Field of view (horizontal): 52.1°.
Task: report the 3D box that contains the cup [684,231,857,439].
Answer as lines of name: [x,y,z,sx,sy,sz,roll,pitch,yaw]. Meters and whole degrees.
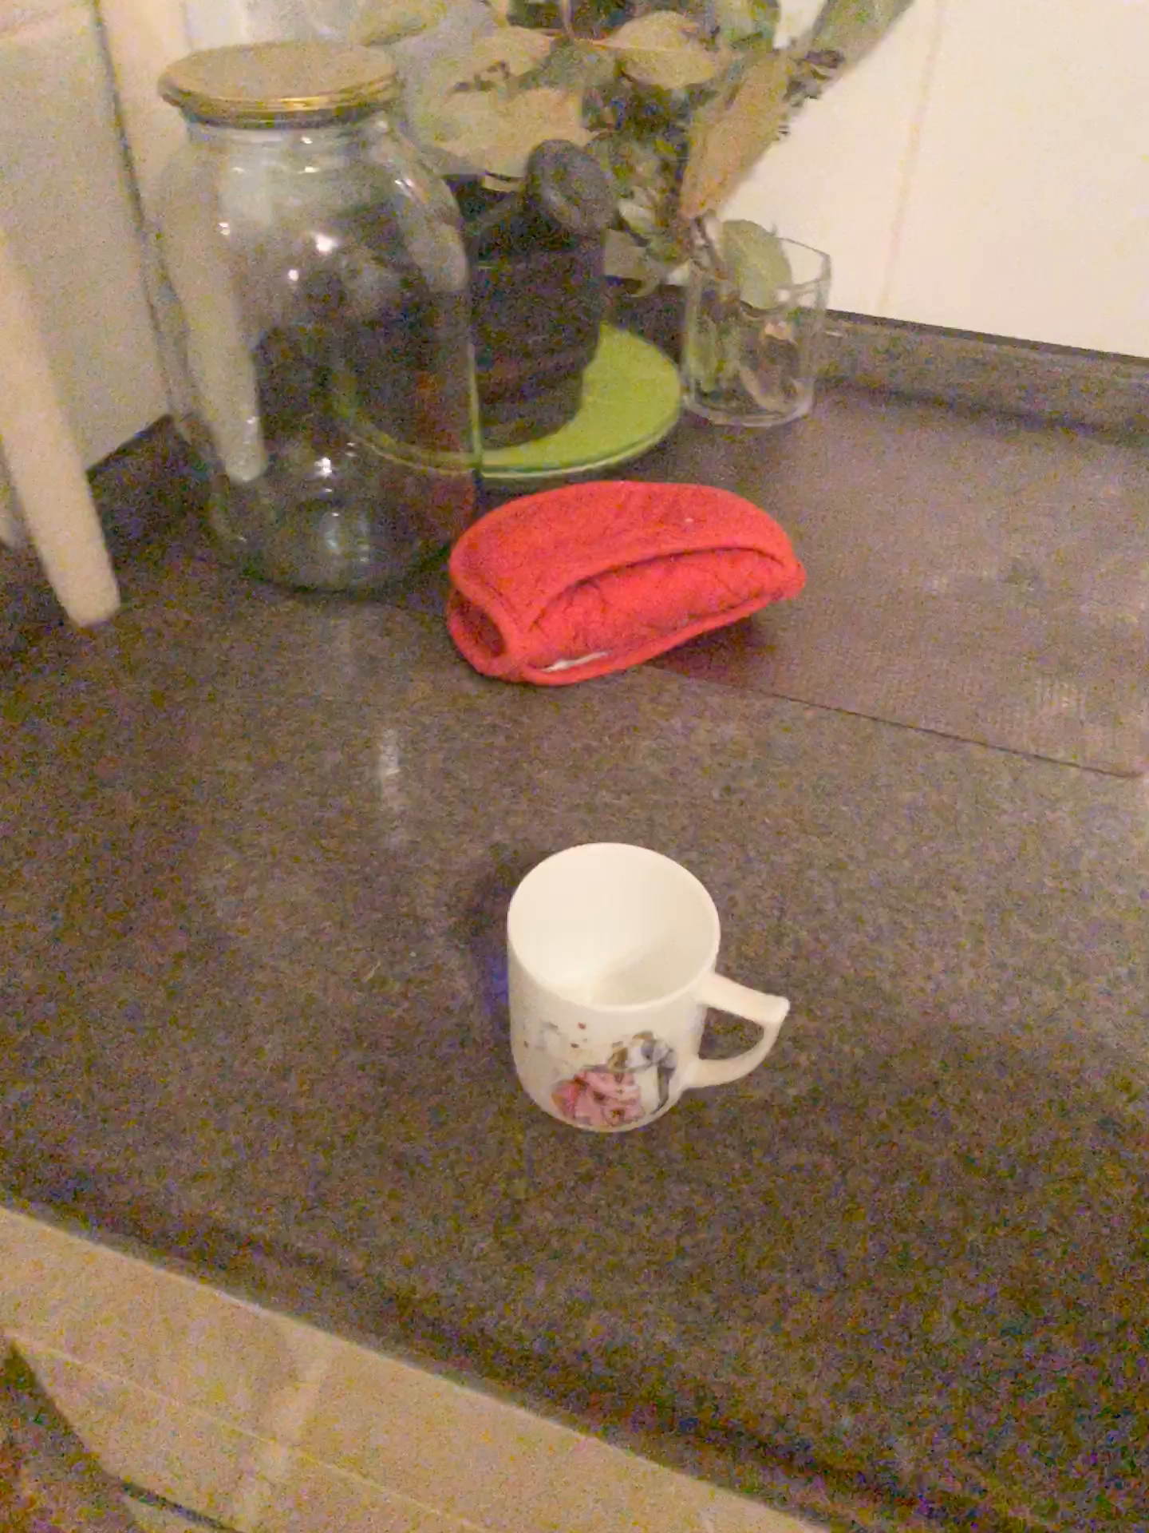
cup: [0.104,-0.236,0.647,0.079,0.091,0.055,3,42,2]

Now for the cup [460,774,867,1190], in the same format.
cup: [0.024,0.057,0.323,0.089,0.061,0.065,16,44,16]
